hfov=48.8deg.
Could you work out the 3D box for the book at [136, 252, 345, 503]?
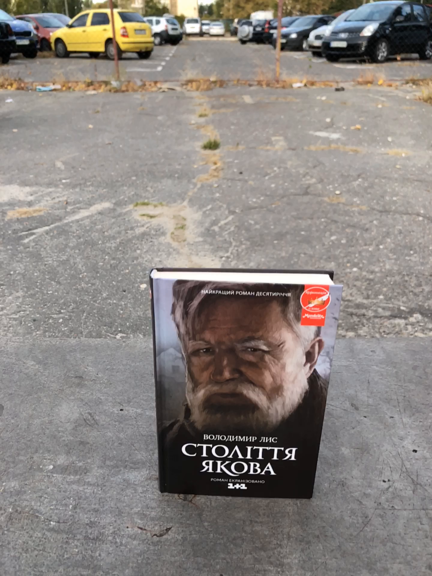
[{"bbox_3d":[0.016,0.078,0.378,0.140,0.211,0.030,2,25,3],"label":"book"}]
